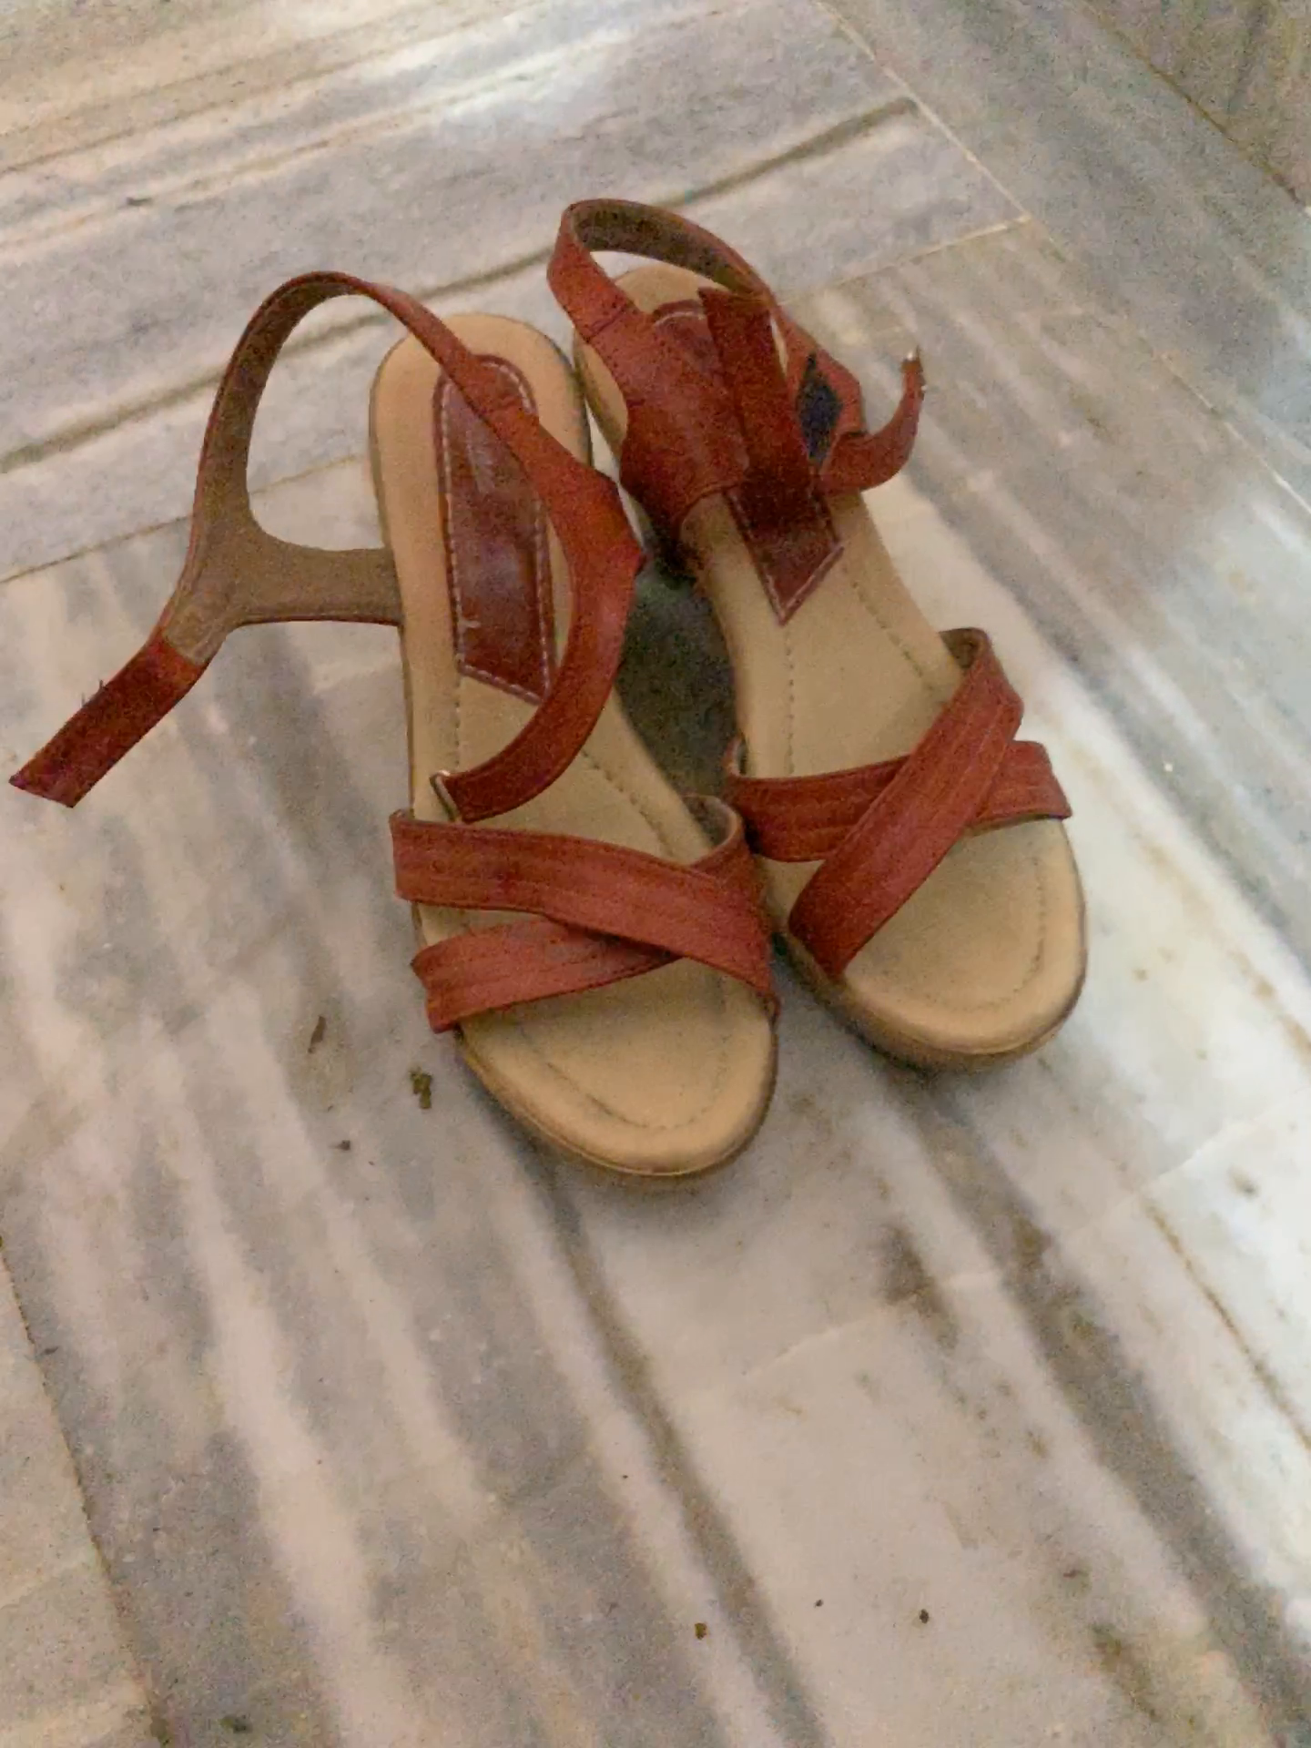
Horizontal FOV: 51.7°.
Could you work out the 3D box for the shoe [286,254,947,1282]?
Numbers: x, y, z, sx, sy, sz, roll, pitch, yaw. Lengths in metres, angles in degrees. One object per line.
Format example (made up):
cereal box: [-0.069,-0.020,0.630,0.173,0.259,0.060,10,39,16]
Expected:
shoe: [-0.022,-0.033,0.359,0.100,0.100,0.240,-12,64,-8]

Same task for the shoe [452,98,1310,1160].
shoe: [0.042,-0.068,0.347,0.100,0.100,0.240,-21,66,-12]
